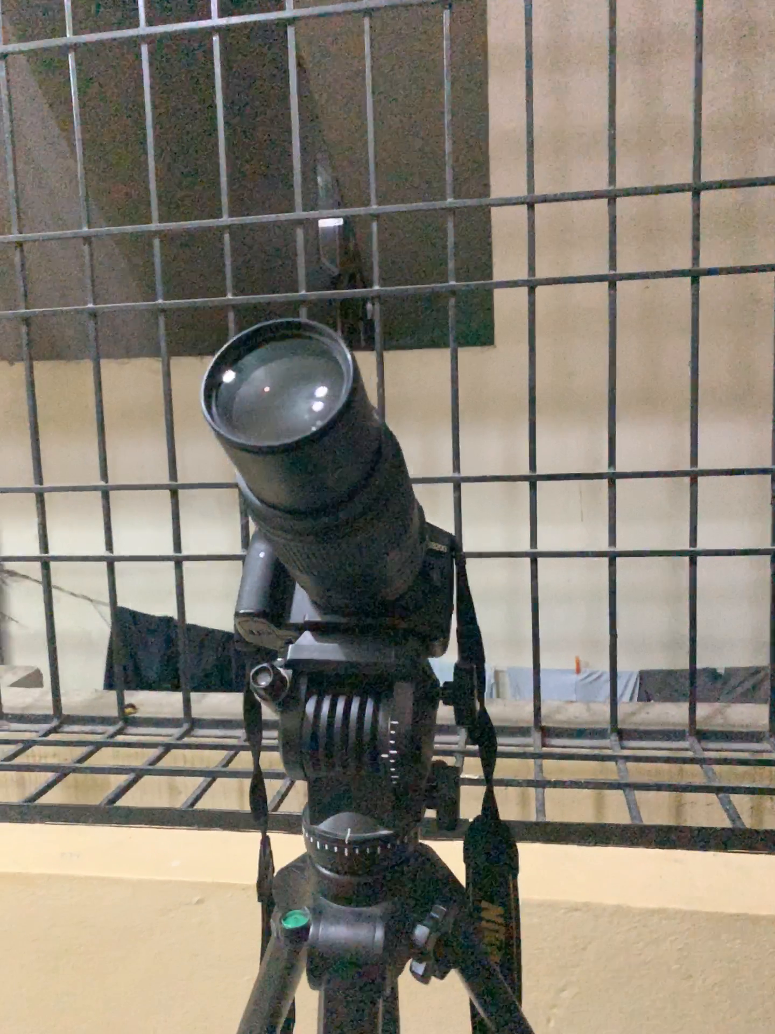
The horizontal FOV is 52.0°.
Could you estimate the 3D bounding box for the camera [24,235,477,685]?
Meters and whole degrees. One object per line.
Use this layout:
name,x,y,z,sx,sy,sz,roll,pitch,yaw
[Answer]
camera,-0.037,-0.009,0.379,0.136,0.101,0.209,0,-33,13
